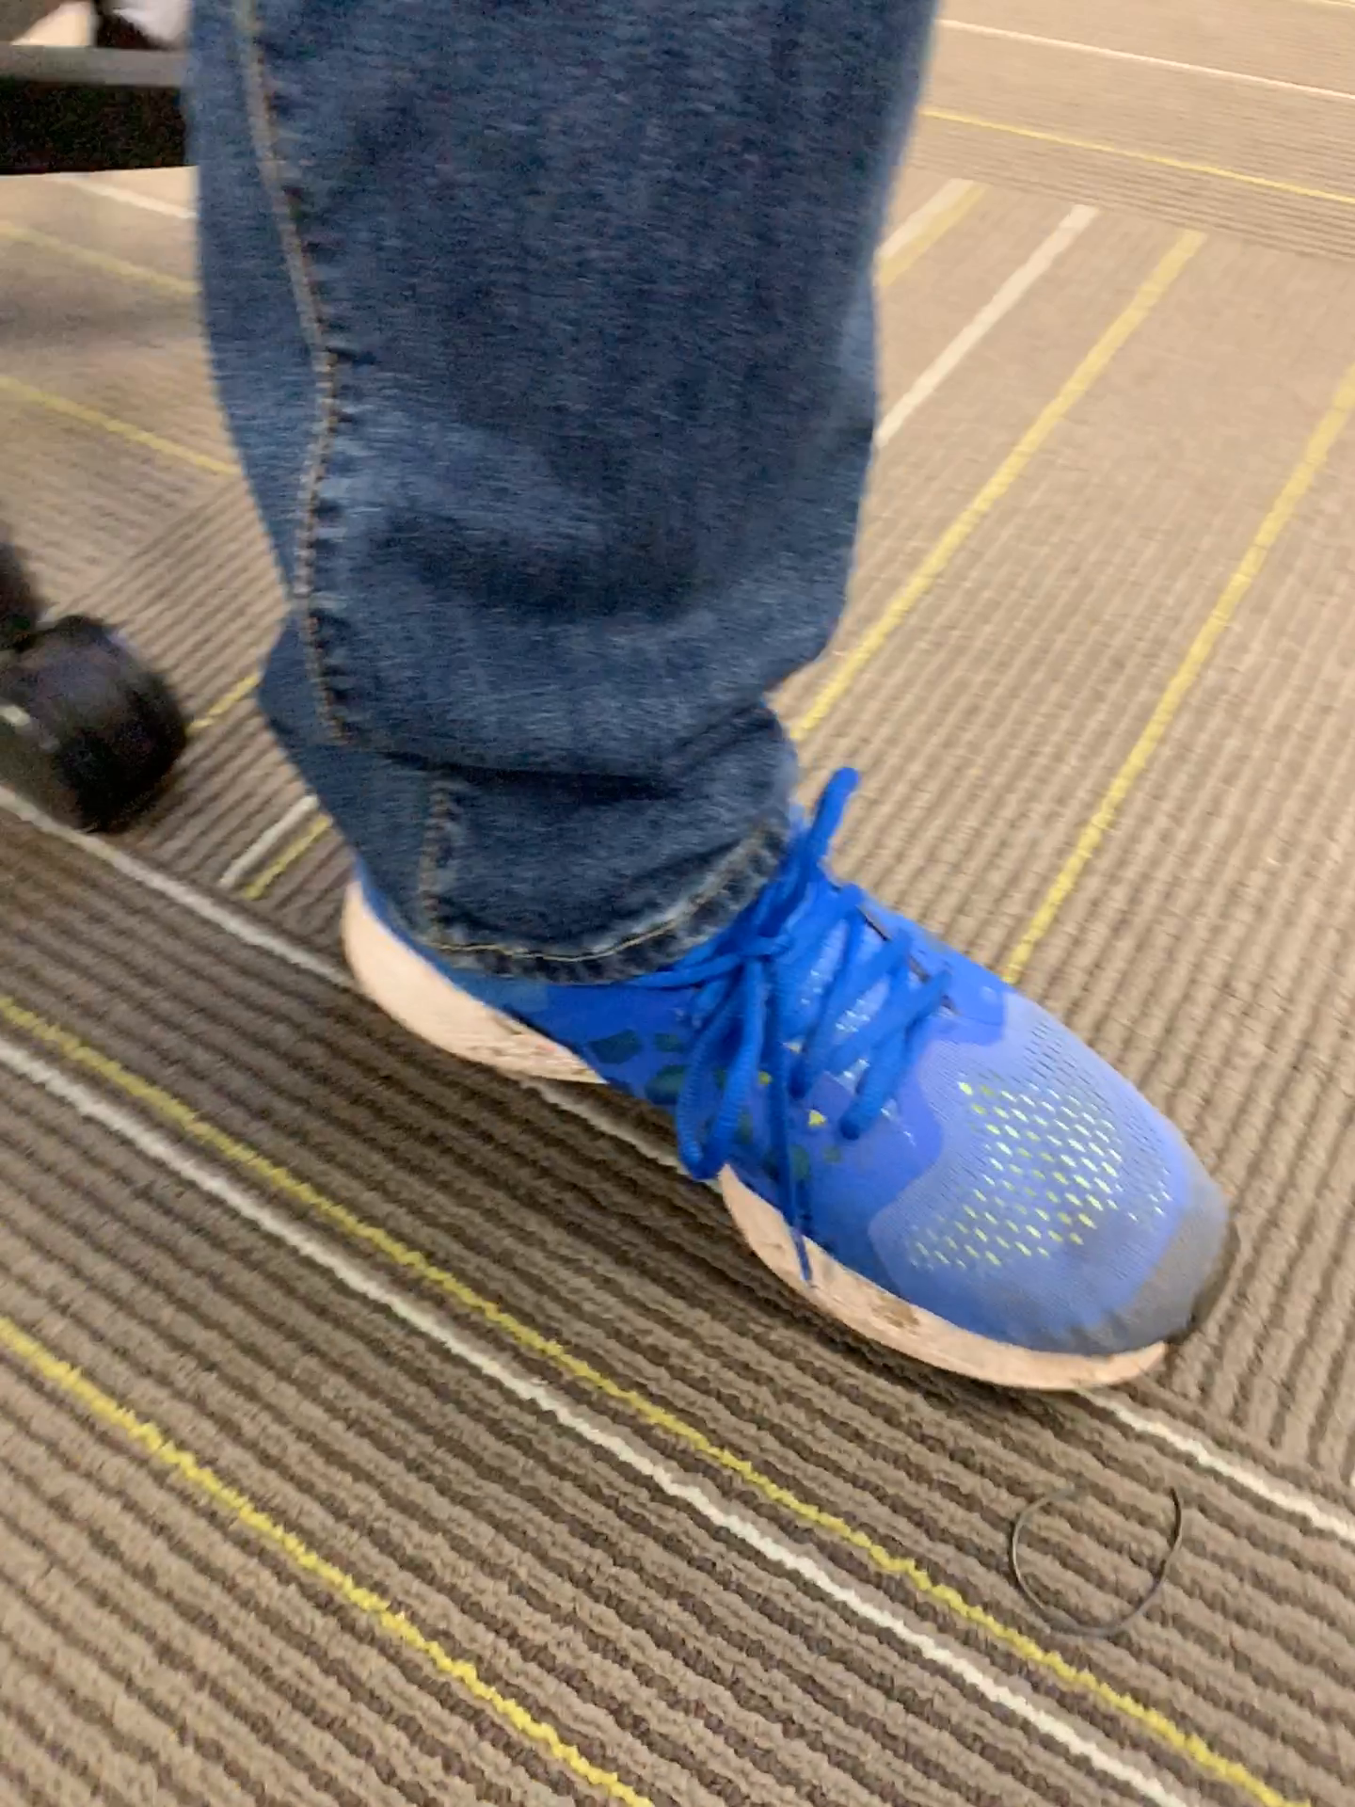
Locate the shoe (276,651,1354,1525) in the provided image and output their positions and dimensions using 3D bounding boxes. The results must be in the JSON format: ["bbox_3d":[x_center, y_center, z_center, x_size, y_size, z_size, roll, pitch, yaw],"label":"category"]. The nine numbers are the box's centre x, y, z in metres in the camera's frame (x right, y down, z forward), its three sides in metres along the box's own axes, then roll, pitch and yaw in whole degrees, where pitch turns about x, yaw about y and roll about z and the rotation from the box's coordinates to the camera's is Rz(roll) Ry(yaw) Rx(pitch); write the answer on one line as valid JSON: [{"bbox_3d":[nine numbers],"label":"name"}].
[{"bbox_3d":[0.031,0.038,0.406,0.284,0.086,0.101,28,57,23],"label":"shoe"}]
